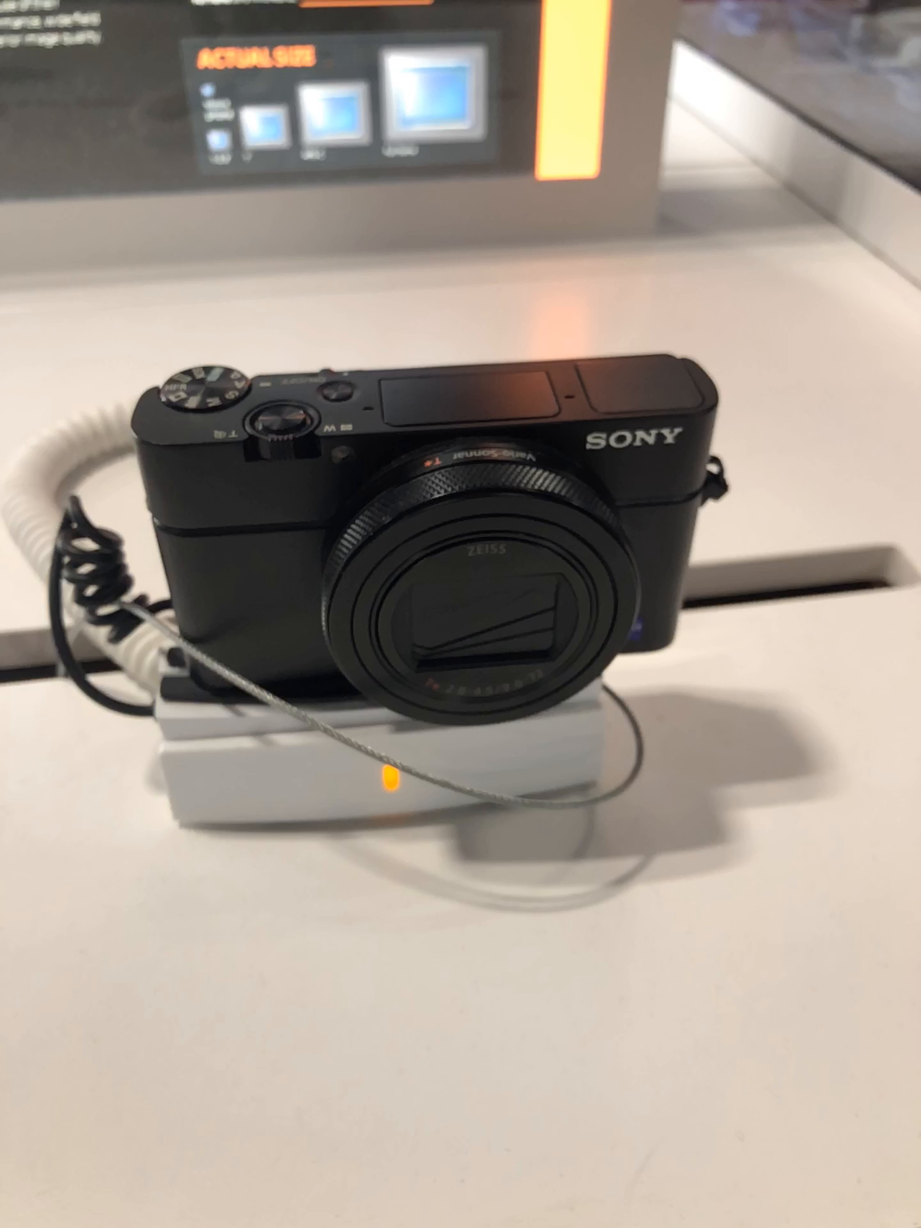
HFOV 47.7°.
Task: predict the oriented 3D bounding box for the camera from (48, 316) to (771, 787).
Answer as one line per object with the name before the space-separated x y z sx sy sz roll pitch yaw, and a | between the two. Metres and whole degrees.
camera | -0.008 -0.012 0.195 0.110 0.070 0.040 -5 39 -6
